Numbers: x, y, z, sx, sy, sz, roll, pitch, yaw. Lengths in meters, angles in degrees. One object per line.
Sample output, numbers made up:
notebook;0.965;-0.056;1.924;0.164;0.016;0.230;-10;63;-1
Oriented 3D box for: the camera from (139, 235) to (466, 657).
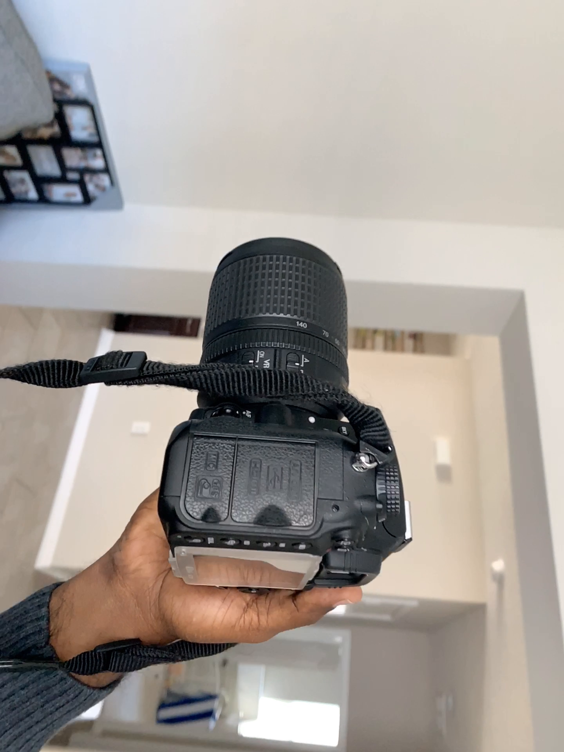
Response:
camera;0.004;0.051;0.311;0.159;0.114;0.170;104;-10;-63
